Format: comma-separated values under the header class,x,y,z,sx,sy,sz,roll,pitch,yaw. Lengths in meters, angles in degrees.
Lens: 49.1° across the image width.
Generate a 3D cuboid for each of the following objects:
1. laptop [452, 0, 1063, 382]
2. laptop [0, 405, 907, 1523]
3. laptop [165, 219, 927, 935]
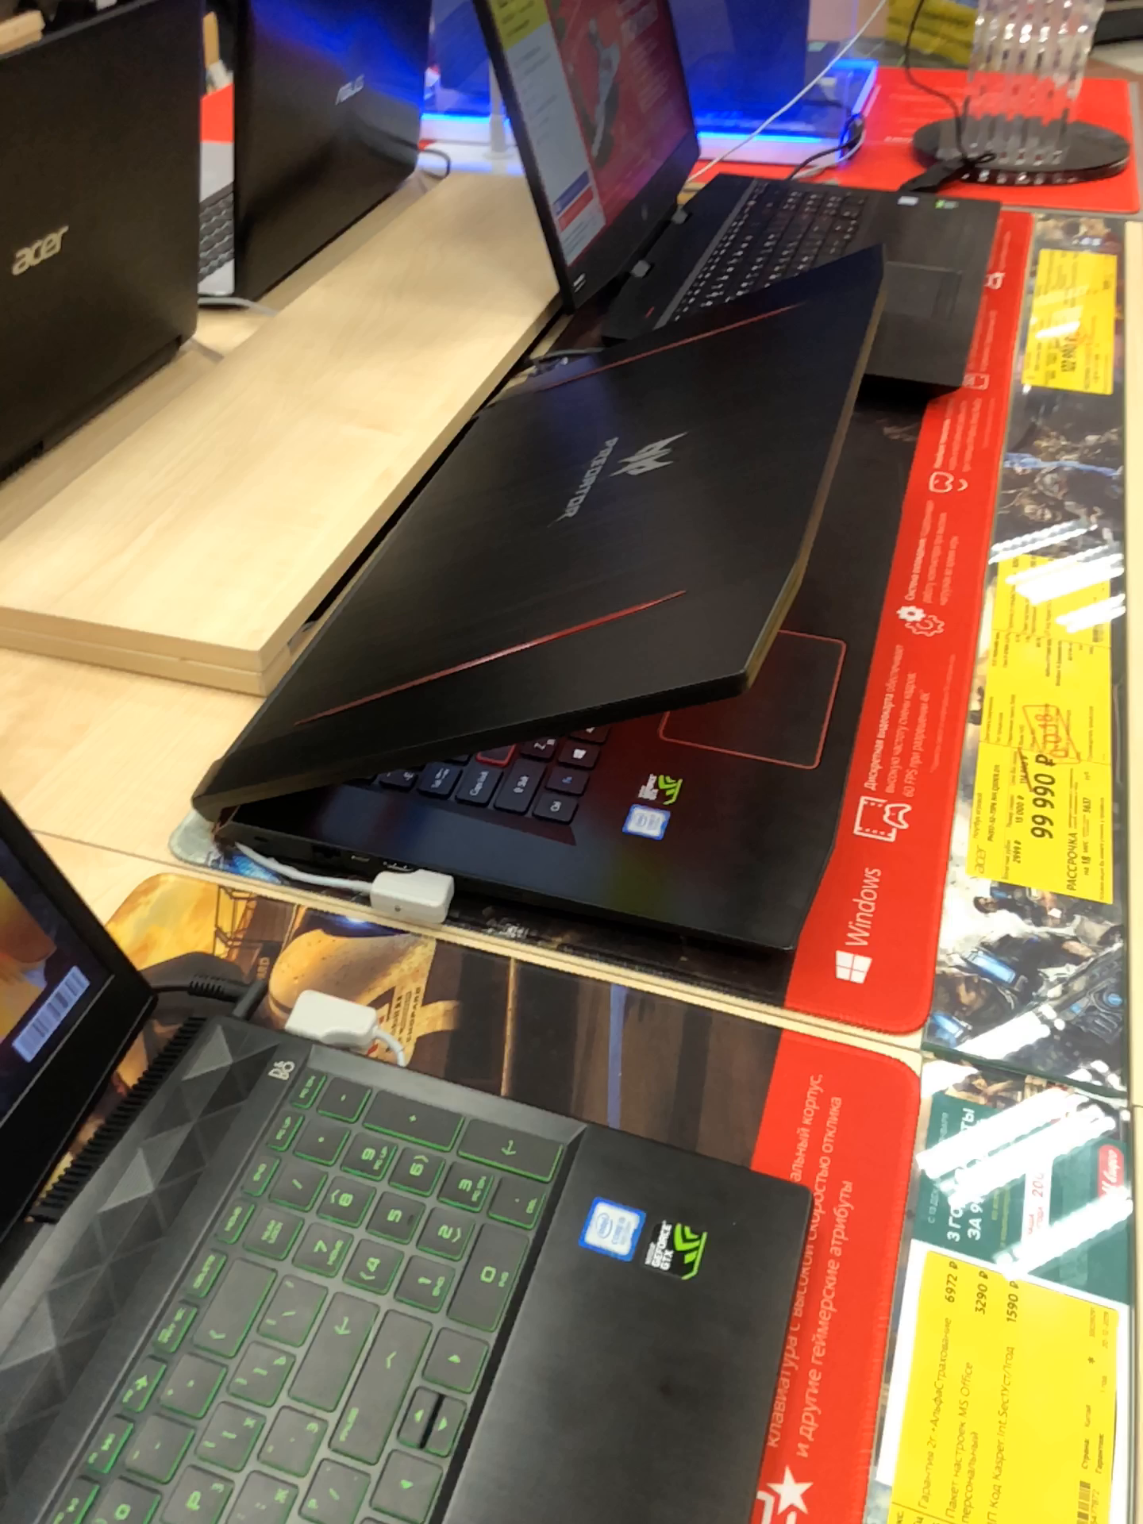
class,x,y,z,sx,sy,sz,roll,pitch,yaw
laptop,0.164,-0.527,0.990,0.355,0.251,0.379,13,43,12
laptop,-0.134,0.133,0.260,0.342,0.230,0.352,12,41,14
laptop,0.026,-0.136,0.652,0.261,0.124,0.421,11,43,12
